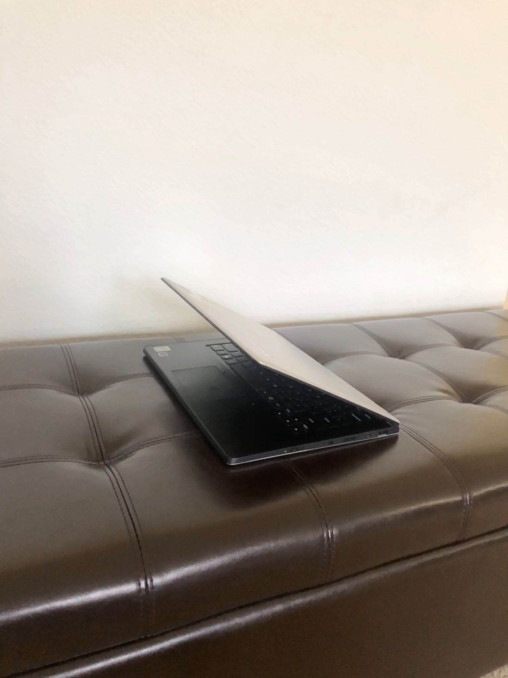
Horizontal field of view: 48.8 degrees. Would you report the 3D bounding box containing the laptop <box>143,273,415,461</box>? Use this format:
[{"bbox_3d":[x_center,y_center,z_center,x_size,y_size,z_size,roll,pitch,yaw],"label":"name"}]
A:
[{"bbox_3d":[0.007,0.009,0.670,0.197,0.097,0.294,-6,23,-26],"label":"laptop"}]
